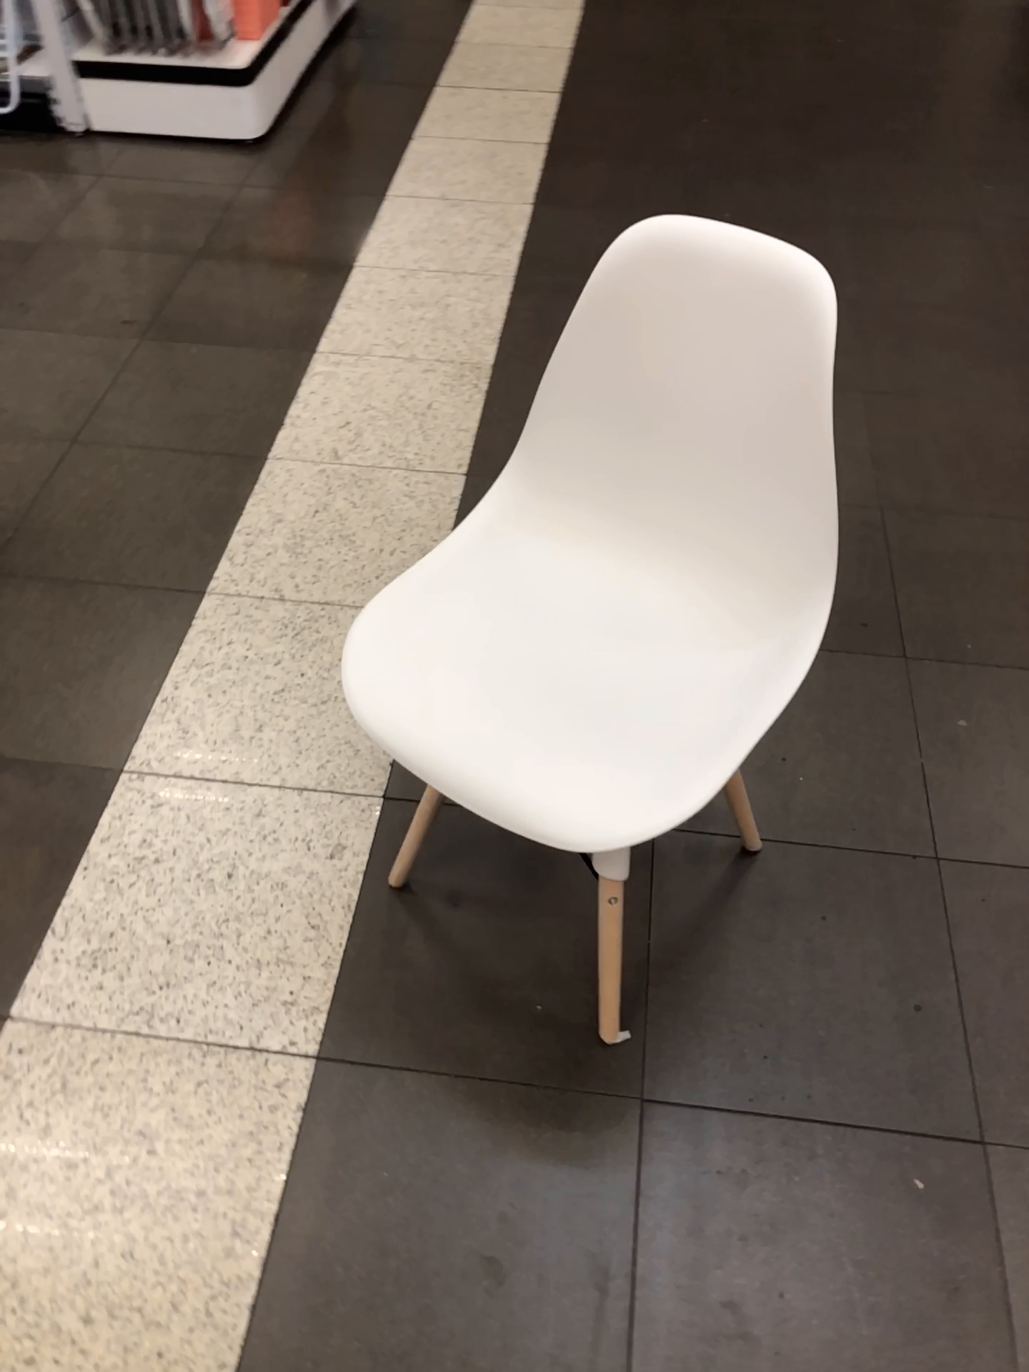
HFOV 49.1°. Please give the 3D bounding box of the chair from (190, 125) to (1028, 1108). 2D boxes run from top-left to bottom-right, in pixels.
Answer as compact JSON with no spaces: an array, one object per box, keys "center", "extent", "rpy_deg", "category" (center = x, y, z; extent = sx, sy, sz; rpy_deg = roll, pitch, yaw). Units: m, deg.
[{"center":[0.099,-0.068,1.259],"extent":[0.522,0.794,0.542],"rpy_deg":[32,54,27],"category":"chair"}]
